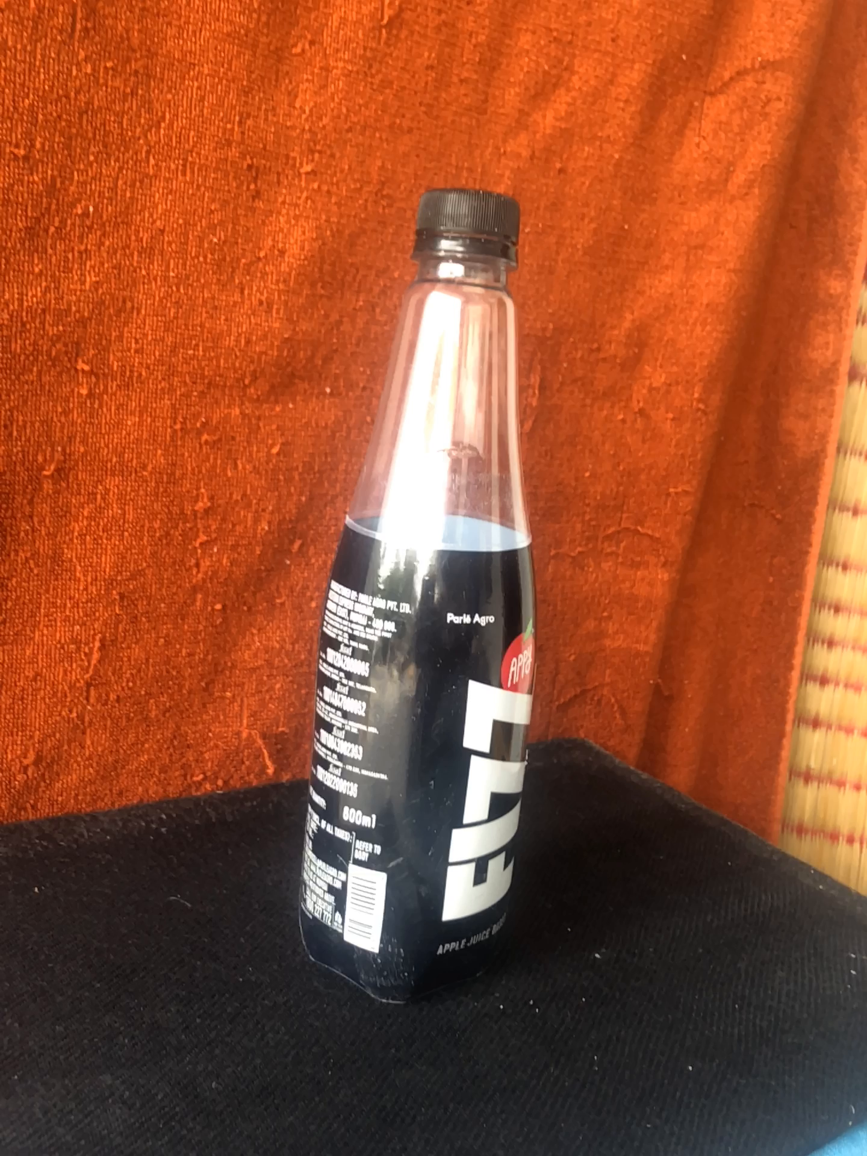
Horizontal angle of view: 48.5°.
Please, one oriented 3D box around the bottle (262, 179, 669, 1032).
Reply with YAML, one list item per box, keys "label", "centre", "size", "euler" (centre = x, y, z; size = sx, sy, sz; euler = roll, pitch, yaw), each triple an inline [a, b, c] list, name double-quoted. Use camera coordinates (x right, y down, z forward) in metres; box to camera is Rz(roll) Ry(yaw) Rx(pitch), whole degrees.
- label: "bottle"
  centre: [0.007, 0.007, 0.284]
  size: [0.060, 0.219, 0.070]
  euler: [16, 14, 31]
